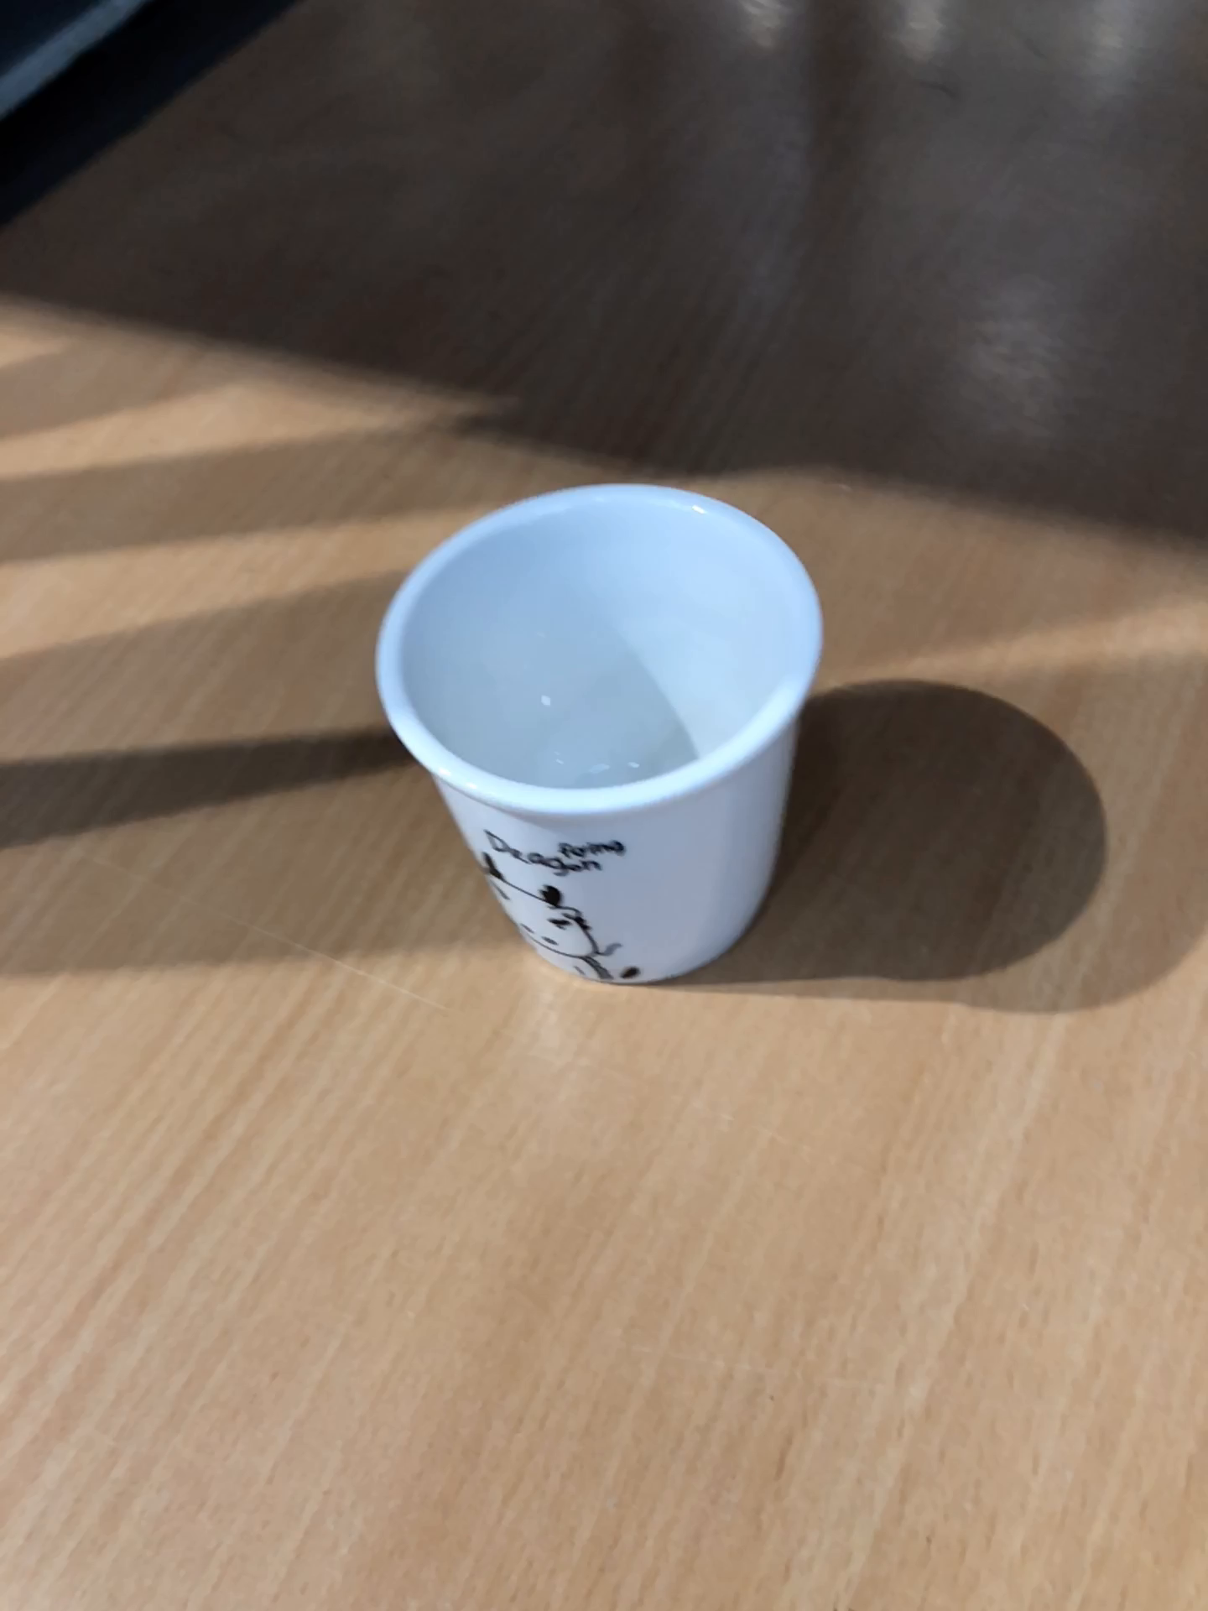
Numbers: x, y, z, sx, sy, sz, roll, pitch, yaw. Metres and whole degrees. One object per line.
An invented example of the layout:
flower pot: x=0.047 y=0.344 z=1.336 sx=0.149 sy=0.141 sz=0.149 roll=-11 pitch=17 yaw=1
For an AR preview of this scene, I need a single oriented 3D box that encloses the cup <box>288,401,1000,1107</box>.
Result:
cup: x=0.011 y=-0.012 z=0.230 sx=0.080 sy=0.060 sz=0.080 roll=-4 pitch=51 yaw=5
